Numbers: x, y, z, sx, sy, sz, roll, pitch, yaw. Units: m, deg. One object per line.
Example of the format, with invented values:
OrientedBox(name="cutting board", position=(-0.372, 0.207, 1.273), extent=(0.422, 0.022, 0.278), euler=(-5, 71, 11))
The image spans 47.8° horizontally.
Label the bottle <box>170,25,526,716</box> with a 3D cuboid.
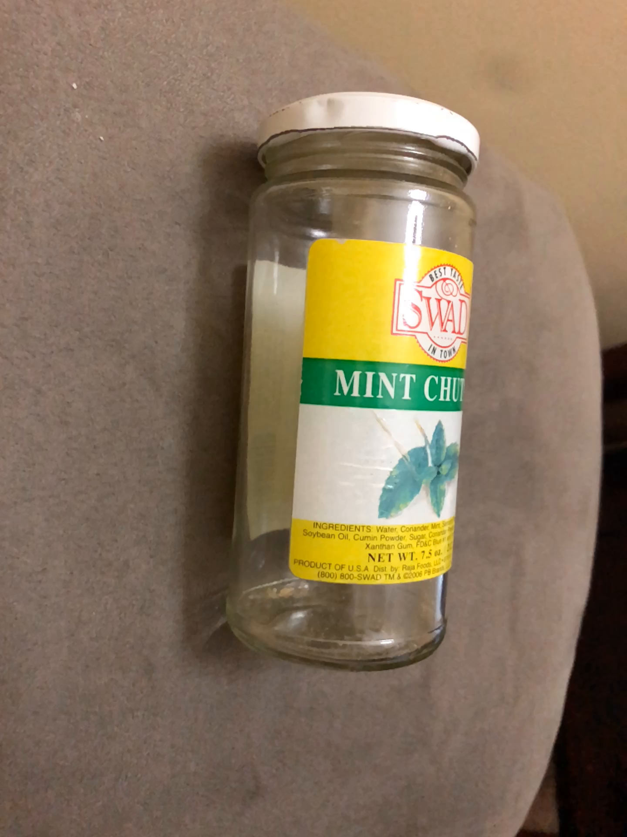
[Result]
OrientedBox(name="bottle", position=(0.006, -0.009, 0.176), extent=(0.057, 0.056, 0.133), euler=(1, 95, -36))
